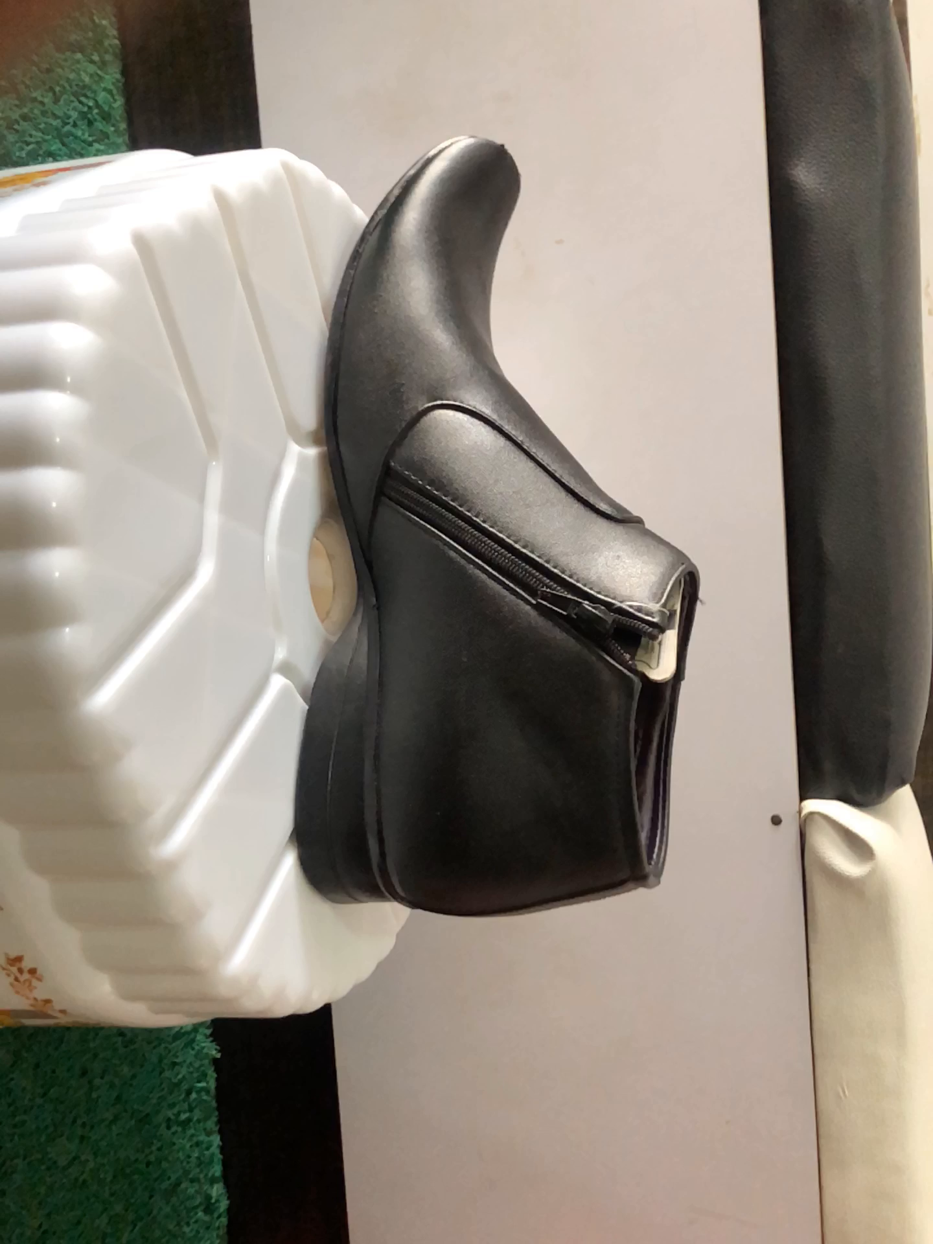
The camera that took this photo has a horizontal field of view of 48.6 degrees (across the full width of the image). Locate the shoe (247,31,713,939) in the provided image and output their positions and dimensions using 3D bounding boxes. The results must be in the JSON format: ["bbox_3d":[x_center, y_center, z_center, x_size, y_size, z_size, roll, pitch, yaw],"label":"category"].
[{"bbox_3d":[0.022,-0.048,0.394,0.121,0.119,0.310,49,41,-60],"label":"shoe"}]
